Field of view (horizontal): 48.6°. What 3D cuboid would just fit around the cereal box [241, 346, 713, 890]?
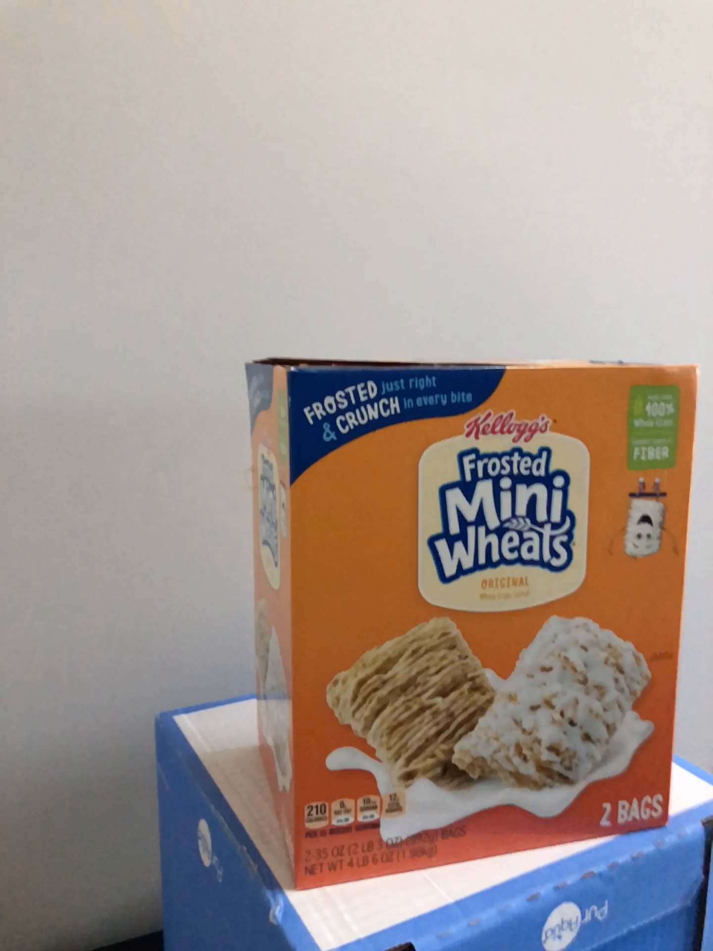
[{"bbox_3d":[0.063,0.063,0.513,0.250,0.289,0.160,-3,9,-14],"label":"cereal box"}]
